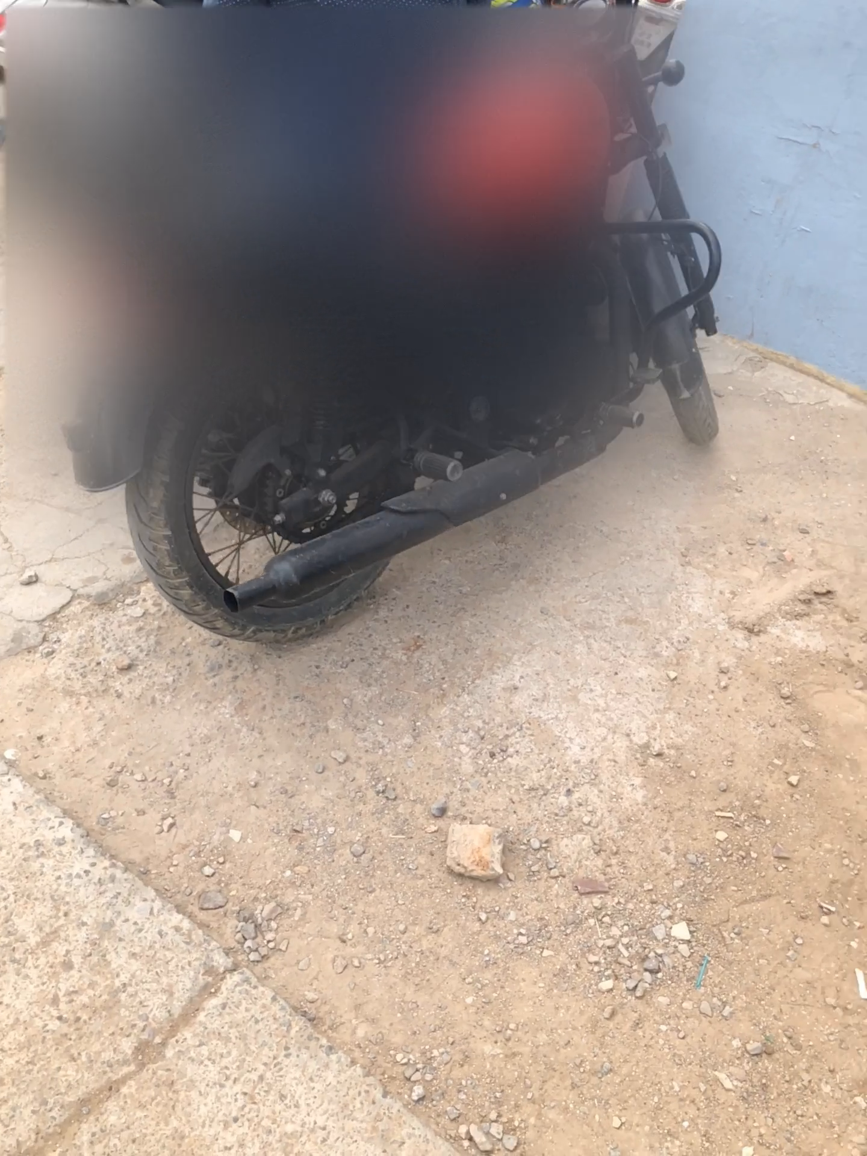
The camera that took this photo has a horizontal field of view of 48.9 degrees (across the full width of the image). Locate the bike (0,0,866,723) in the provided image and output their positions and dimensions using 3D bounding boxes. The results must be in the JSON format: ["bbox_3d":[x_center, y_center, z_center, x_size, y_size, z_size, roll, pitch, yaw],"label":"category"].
[{"bbox_3d":[-0.037,-0.821,1.890,0.777,1.245,1.547,35,50,25],"label":"bike"}]
